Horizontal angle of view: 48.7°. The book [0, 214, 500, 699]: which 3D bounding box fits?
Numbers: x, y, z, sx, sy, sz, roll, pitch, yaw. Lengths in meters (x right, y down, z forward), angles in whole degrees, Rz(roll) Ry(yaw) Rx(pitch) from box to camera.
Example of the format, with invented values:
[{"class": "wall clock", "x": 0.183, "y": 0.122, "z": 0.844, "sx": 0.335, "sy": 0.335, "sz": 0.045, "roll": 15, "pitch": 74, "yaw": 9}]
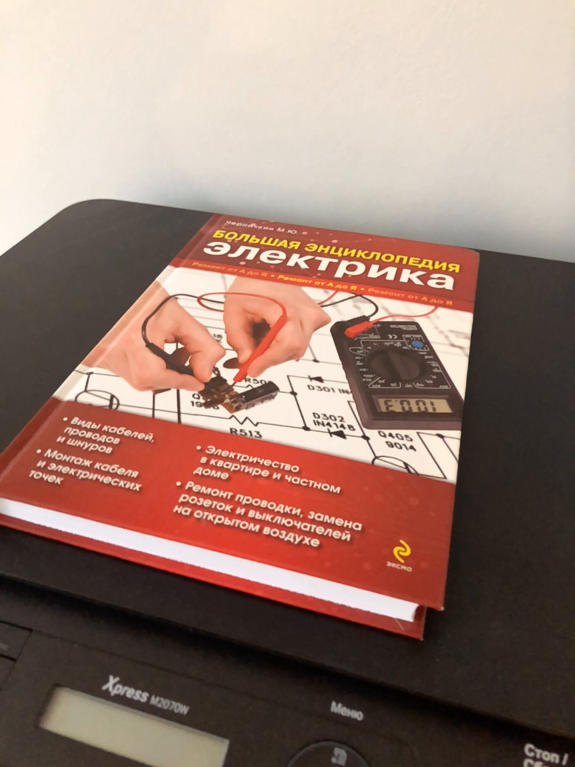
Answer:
[{"class": "book", "x": 0.006, "y": -0.002, "z": 0.303, "sx": 0.170, "sy": 0.040, "sz": 0.242, "roll": 11, "pitch": 41, "yaw": 12}]
